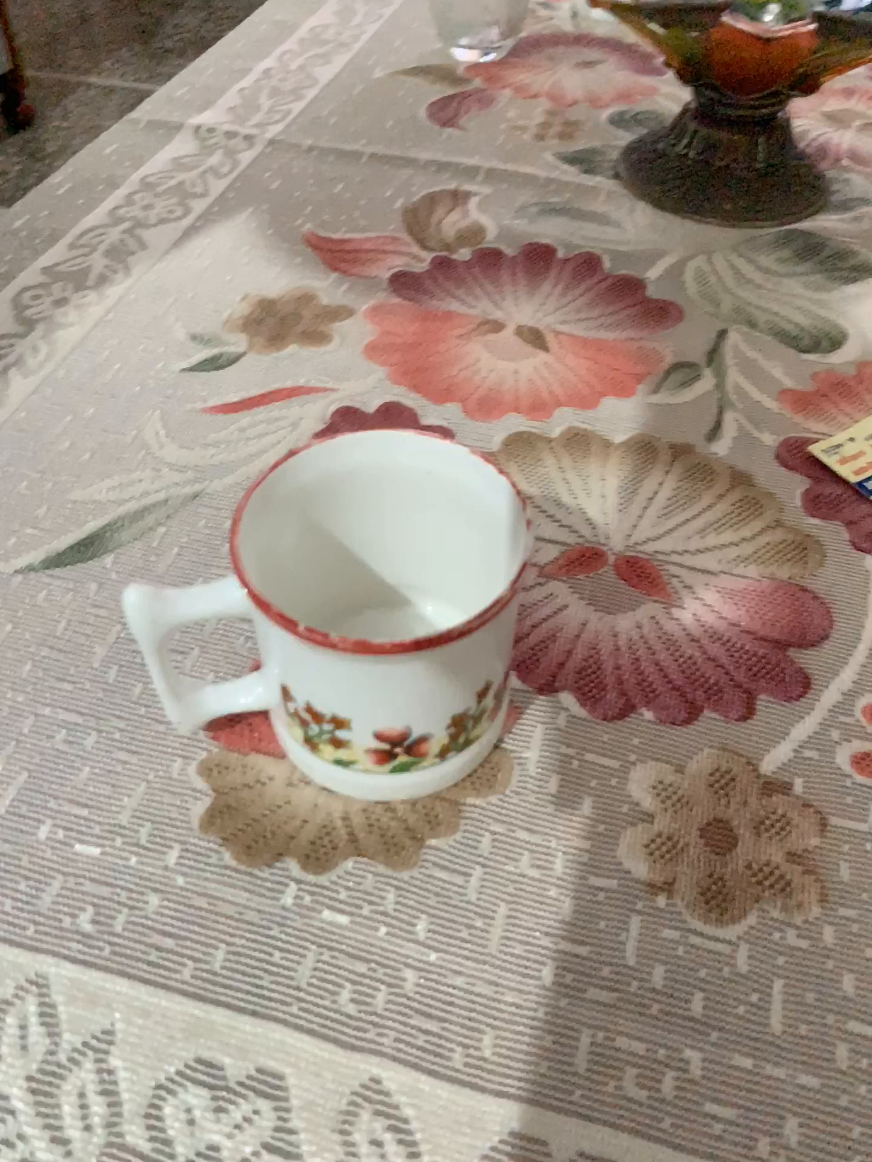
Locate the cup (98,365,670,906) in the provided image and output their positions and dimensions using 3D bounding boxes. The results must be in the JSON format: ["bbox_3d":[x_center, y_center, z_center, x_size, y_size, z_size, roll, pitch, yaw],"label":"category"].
[{"bbox_3d":[-0.014,0.012,0.215,0.100,0.080,0.070,-16,50,-15],"label":"cup"}]
